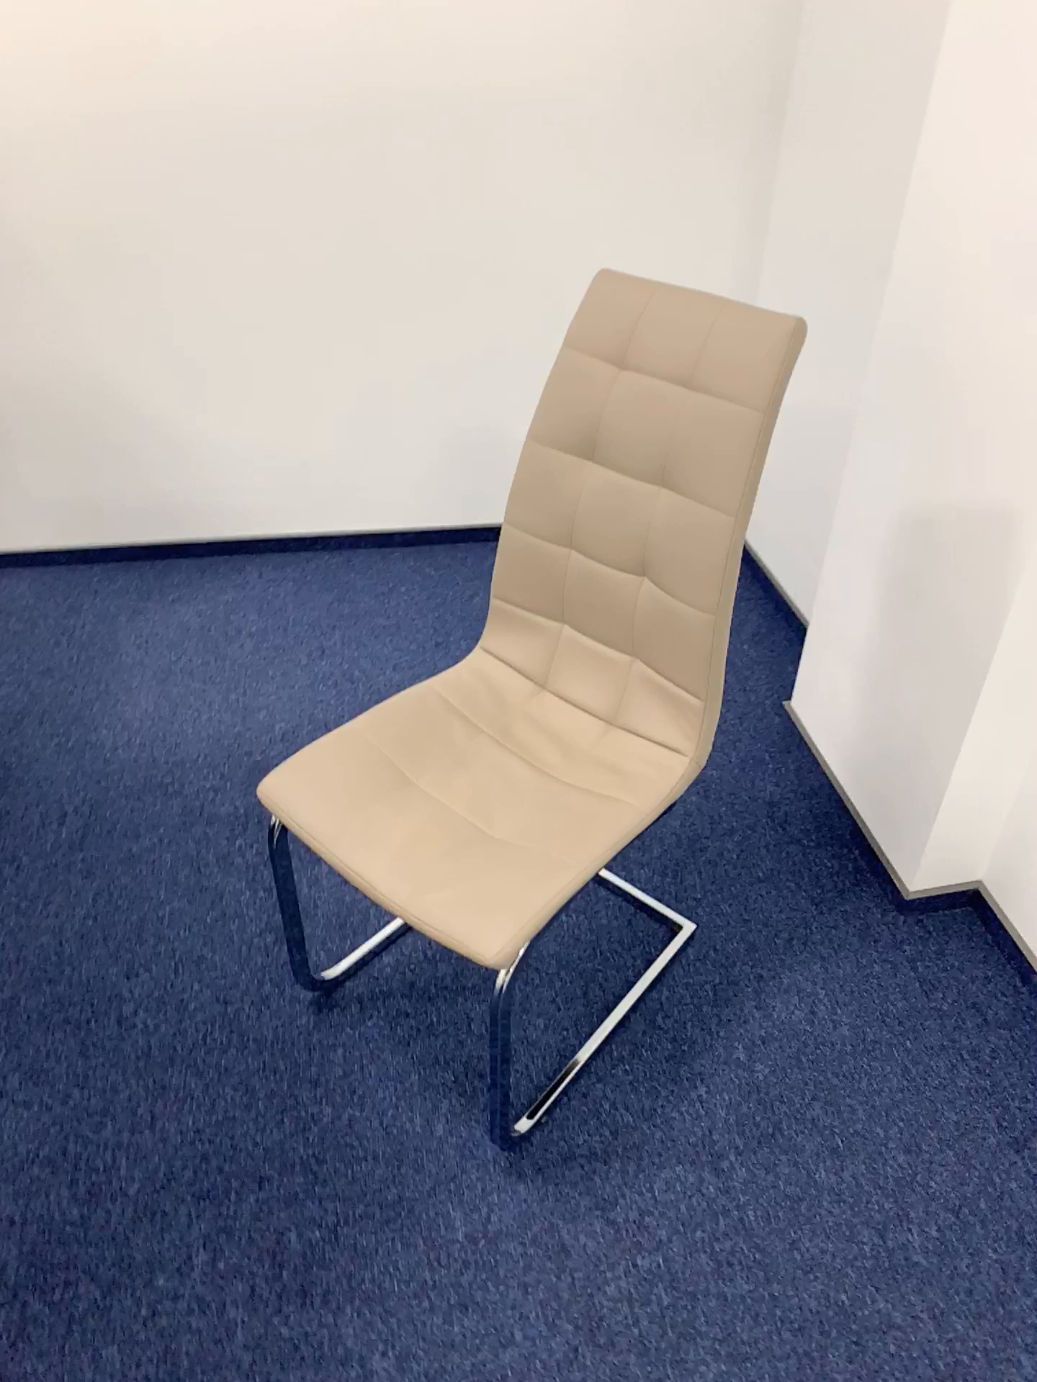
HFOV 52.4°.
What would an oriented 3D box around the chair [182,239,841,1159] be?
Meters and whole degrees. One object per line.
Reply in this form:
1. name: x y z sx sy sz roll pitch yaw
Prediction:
1. chair: -0.004 0.017 1.379 0.441 0.985 0.532 28 44 30
